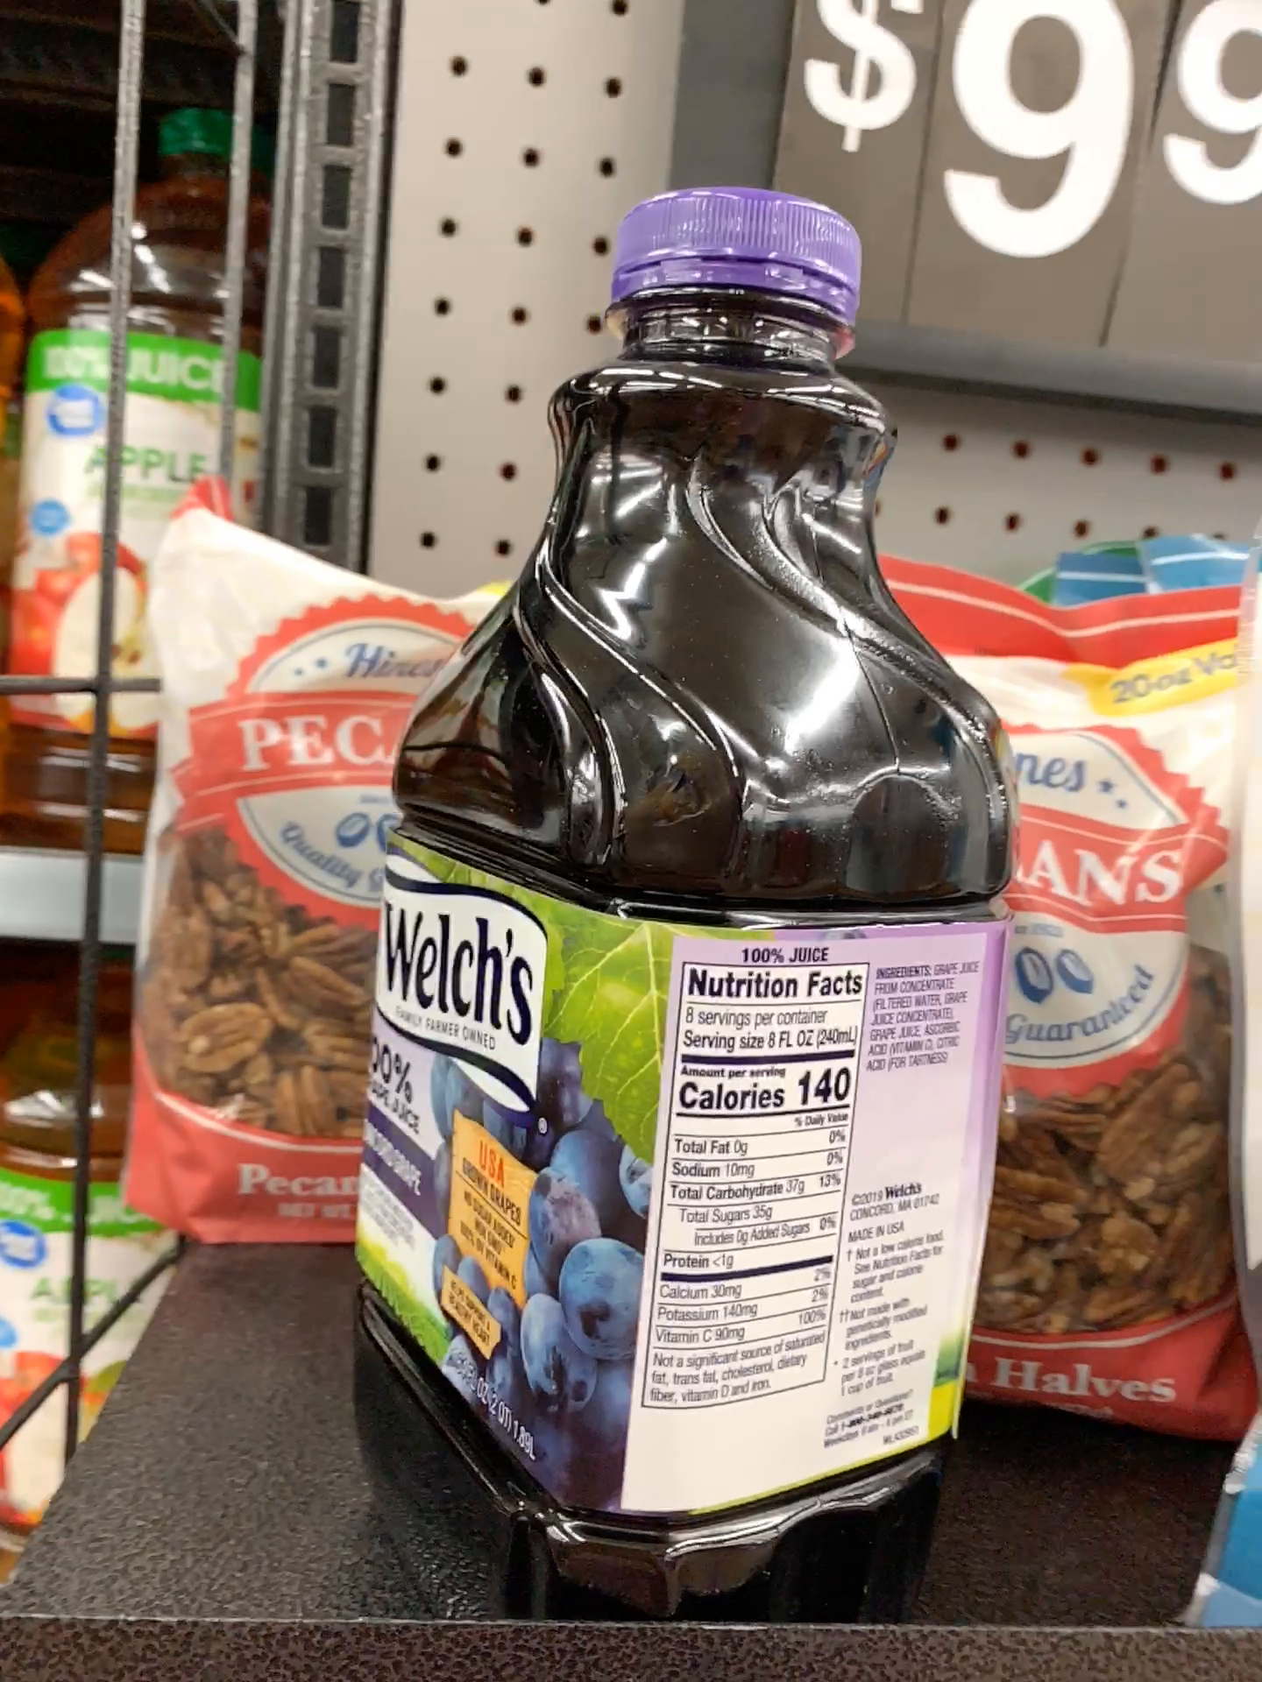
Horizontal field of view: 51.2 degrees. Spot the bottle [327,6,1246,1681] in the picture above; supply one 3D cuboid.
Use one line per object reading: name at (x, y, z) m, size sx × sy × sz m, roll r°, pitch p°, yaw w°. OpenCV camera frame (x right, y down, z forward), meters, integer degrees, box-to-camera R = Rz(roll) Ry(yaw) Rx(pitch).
bottle at (0.016, 0.016, 0.255) m, size 0.100 × 0.260 × 0.120 m, roll 1°, pitch 7°, yaw -30°
